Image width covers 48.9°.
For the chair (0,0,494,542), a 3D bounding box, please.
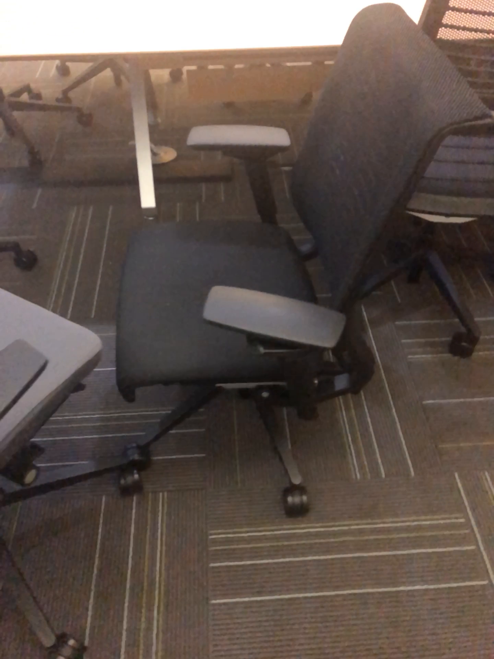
[{"bbox_3d":[-0.044,-0.113,1.245,0.730,0.992,0.726,-4,46,-2],"label":"chair"}]
